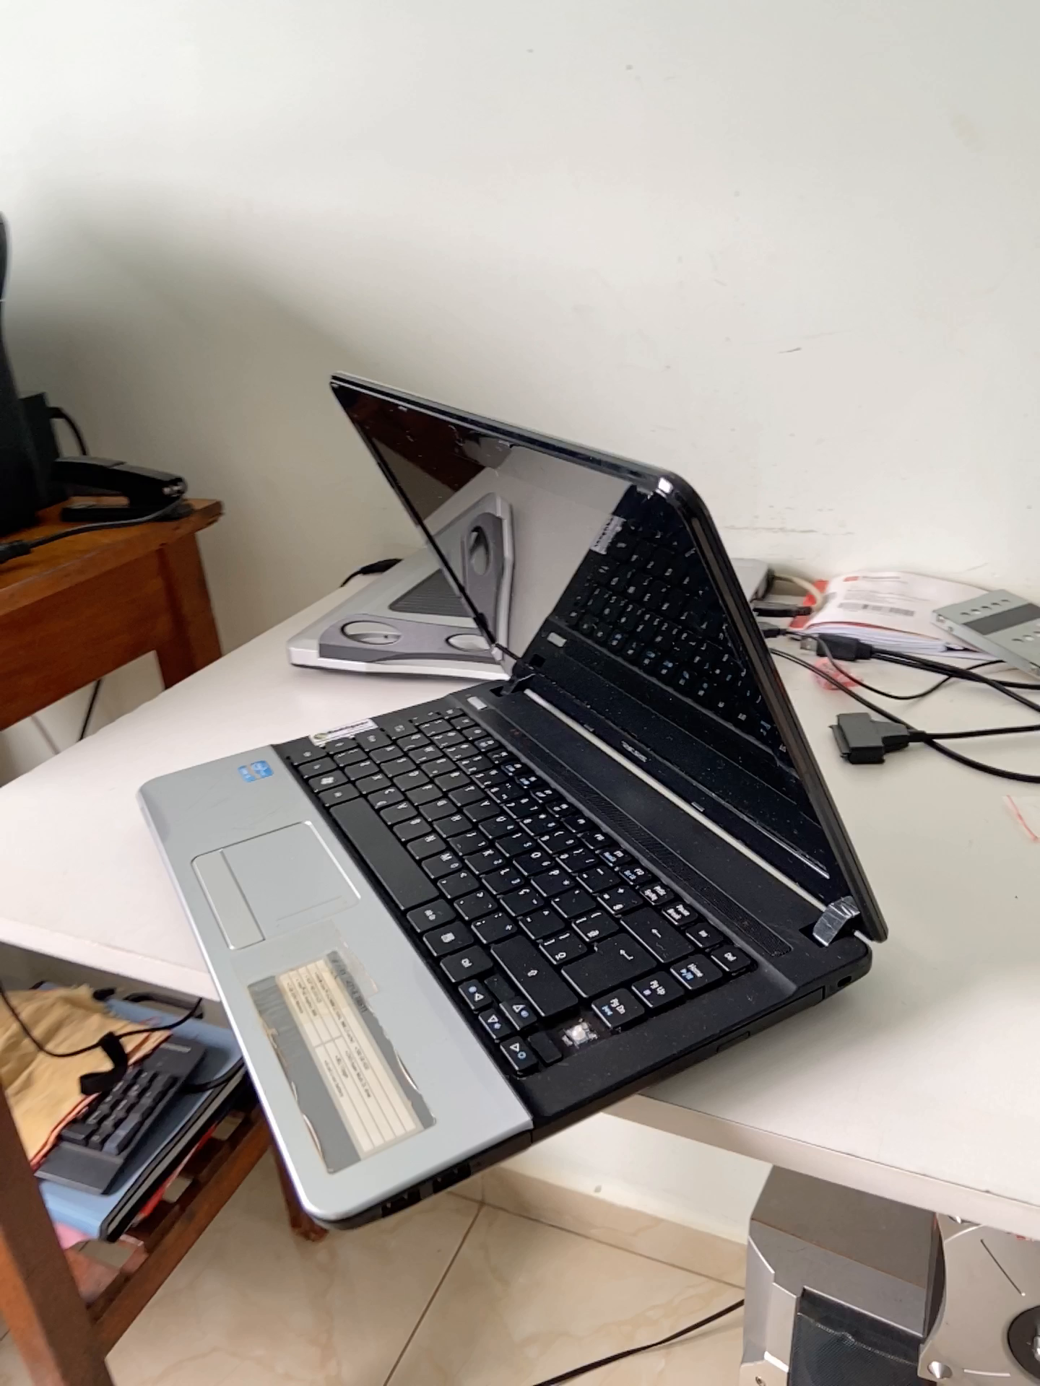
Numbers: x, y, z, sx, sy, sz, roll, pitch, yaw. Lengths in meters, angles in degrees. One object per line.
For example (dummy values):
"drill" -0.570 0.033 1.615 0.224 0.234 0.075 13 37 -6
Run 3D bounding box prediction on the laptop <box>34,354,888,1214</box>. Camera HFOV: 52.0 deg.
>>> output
"laptop" -0.049 -0.015 0.483 0.239 0.211 0.328 -16 27 -23
